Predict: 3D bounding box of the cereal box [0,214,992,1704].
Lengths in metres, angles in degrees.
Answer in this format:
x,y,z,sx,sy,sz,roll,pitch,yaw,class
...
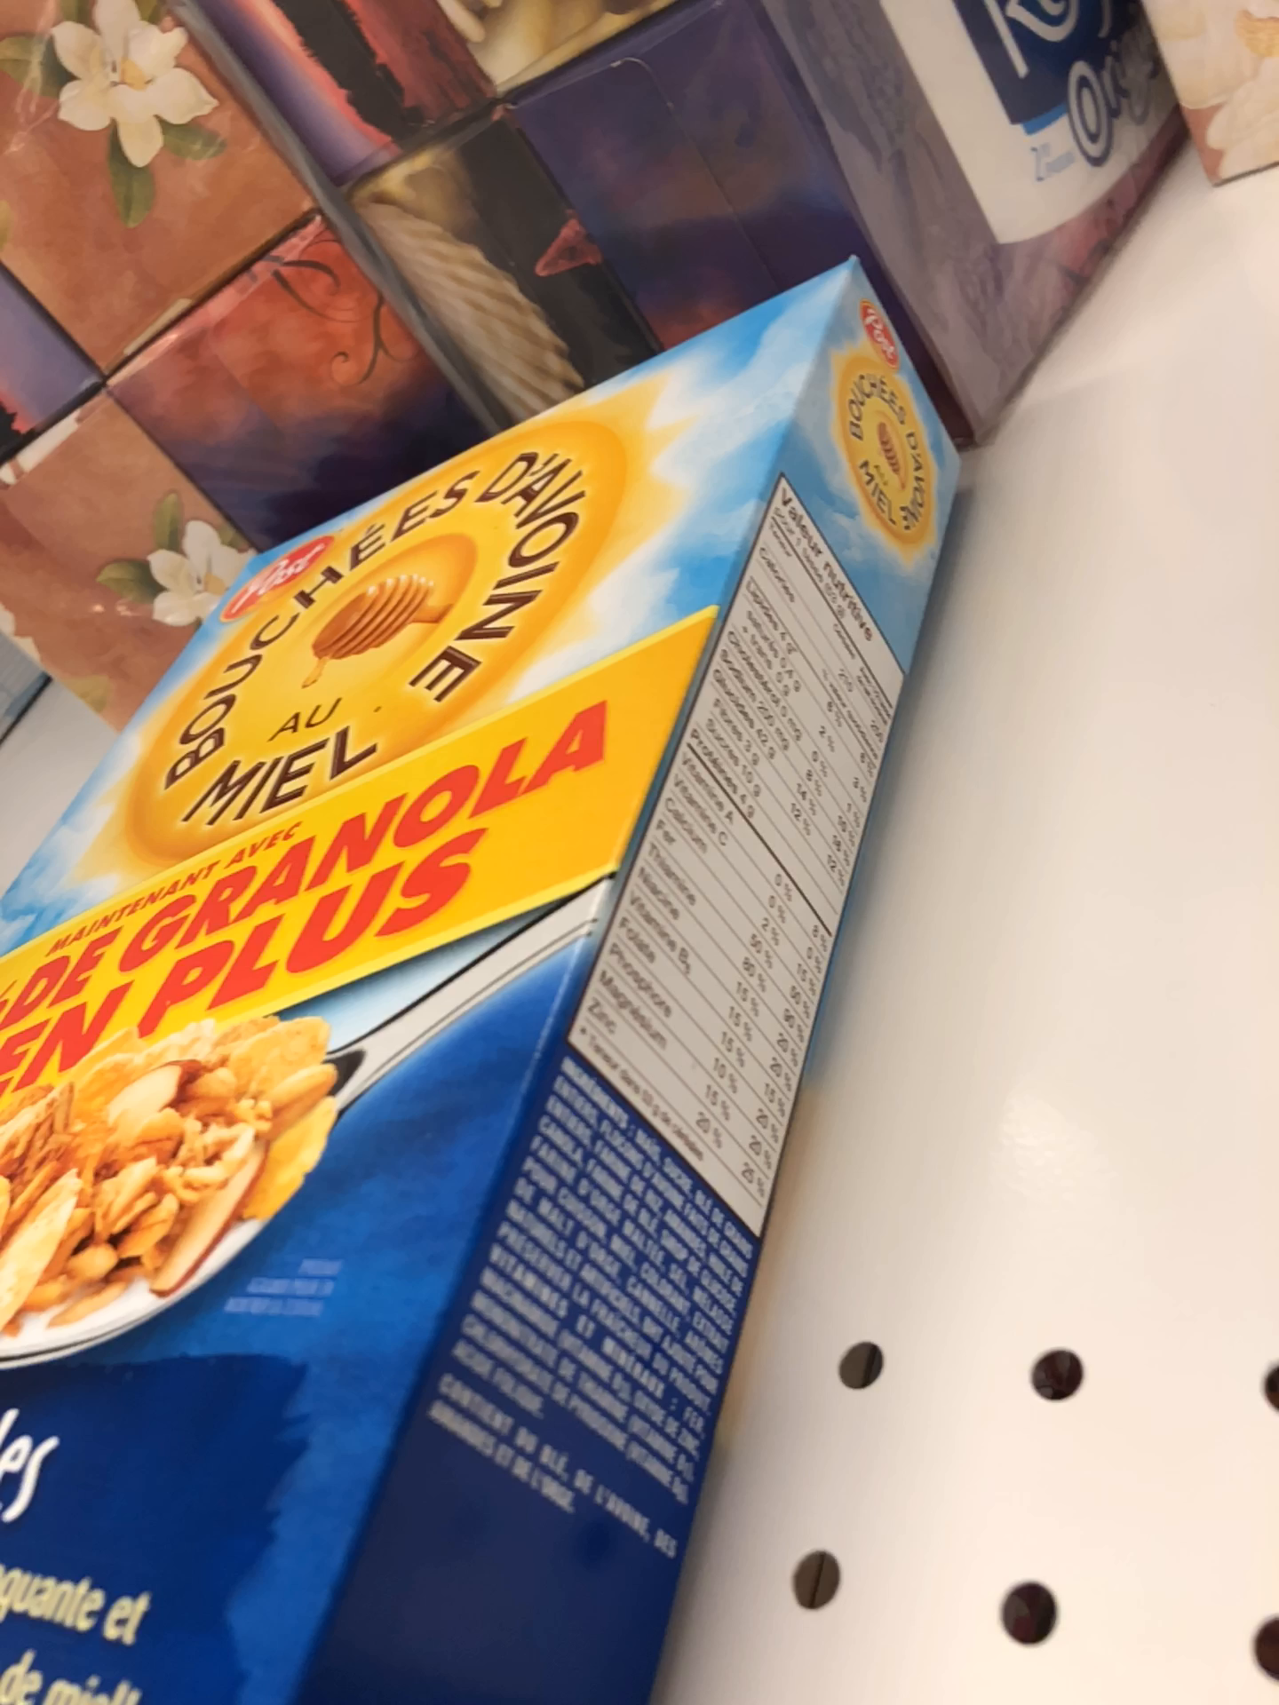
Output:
x,y,z,sx,sy,sz,roll,pitch,yaw,class
-0.065,0.018,0.259,0.211,0.050,0.270,-12,42,37,cereal box
